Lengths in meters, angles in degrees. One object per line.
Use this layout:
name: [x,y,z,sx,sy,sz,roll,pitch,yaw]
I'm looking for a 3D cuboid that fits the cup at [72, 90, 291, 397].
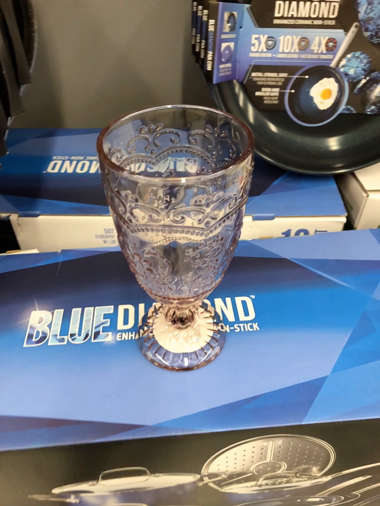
cup: [-0.006,-0.001,0.280,0.089,0.168,0.086,-1,42,1]
